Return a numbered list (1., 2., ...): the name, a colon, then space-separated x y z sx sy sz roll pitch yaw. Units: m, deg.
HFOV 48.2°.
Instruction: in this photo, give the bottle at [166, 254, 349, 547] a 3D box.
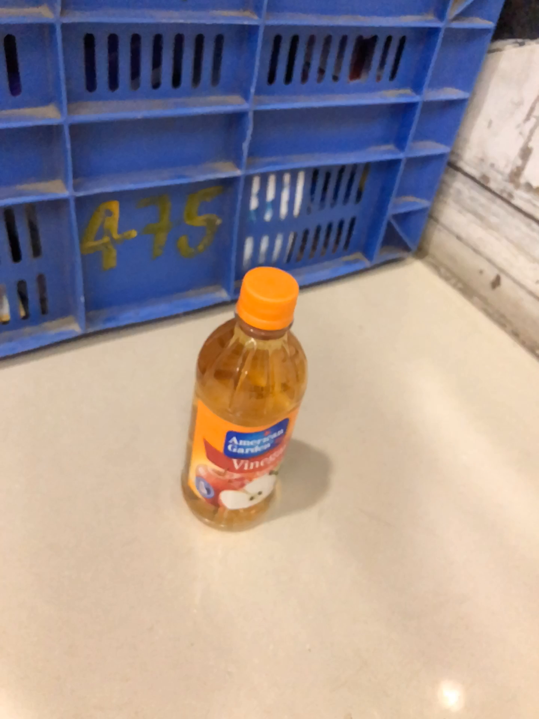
1. bottle: -0.017 0.030 0.368 0.070 0.169 0.070 6 42 -5
